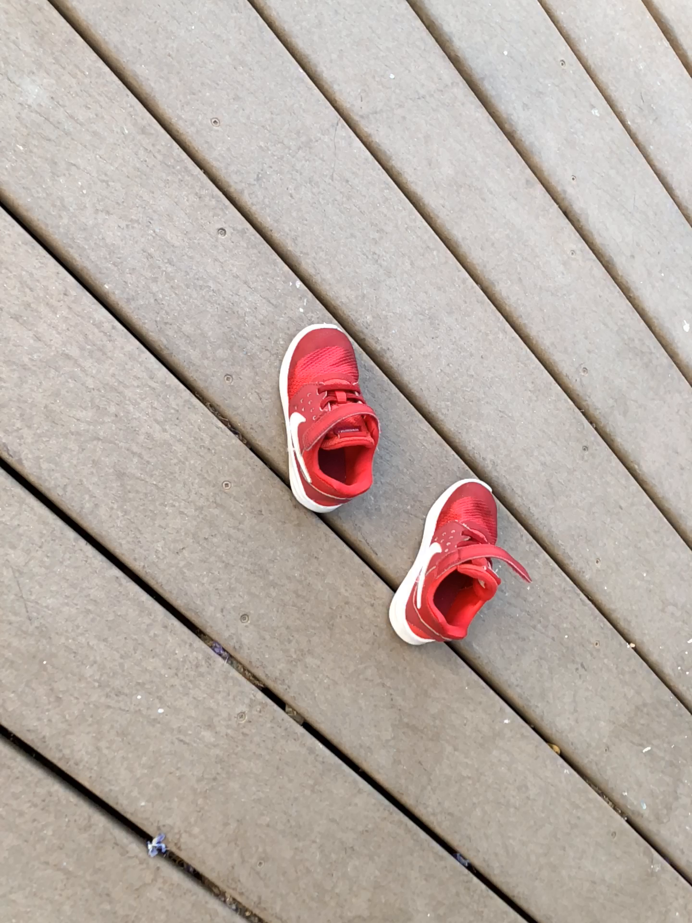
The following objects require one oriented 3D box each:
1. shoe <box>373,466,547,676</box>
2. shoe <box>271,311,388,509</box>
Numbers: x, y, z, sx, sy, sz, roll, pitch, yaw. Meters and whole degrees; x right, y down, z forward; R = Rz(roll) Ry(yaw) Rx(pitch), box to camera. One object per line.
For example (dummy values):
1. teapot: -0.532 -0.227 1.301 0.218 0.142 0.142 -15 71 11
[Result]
1. shoe: 0.103 0.094 0.679 0.070 0.069 0.164 34 72 -21
2. shoe: -0.015 -0.037 0.631 0.073 0.069 0.153 1 86 -27
